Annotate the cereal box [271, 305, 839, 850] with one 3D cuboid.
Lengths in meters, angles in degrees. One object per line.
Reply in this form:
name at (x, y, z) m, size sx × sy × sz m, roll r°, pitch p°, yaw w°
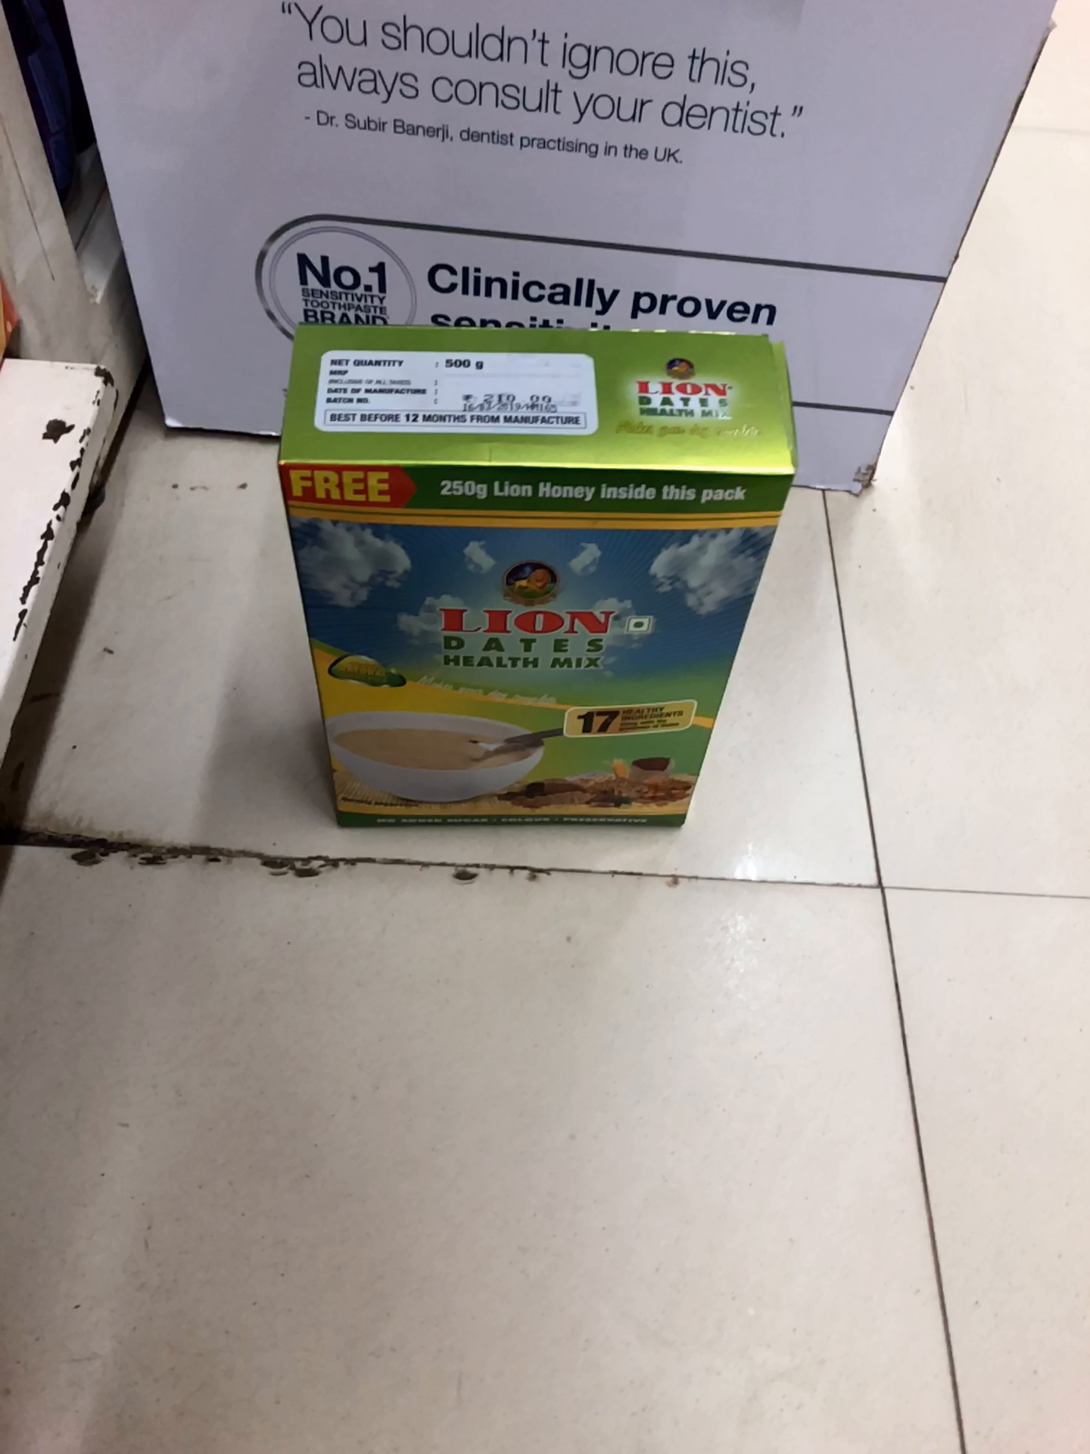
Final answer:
cereal box at (-0.001, -0.036, 0.390) m, size 0.140 × 0.179 × 0.070 m, roll 1°, pitch 55°, yaw -3°
